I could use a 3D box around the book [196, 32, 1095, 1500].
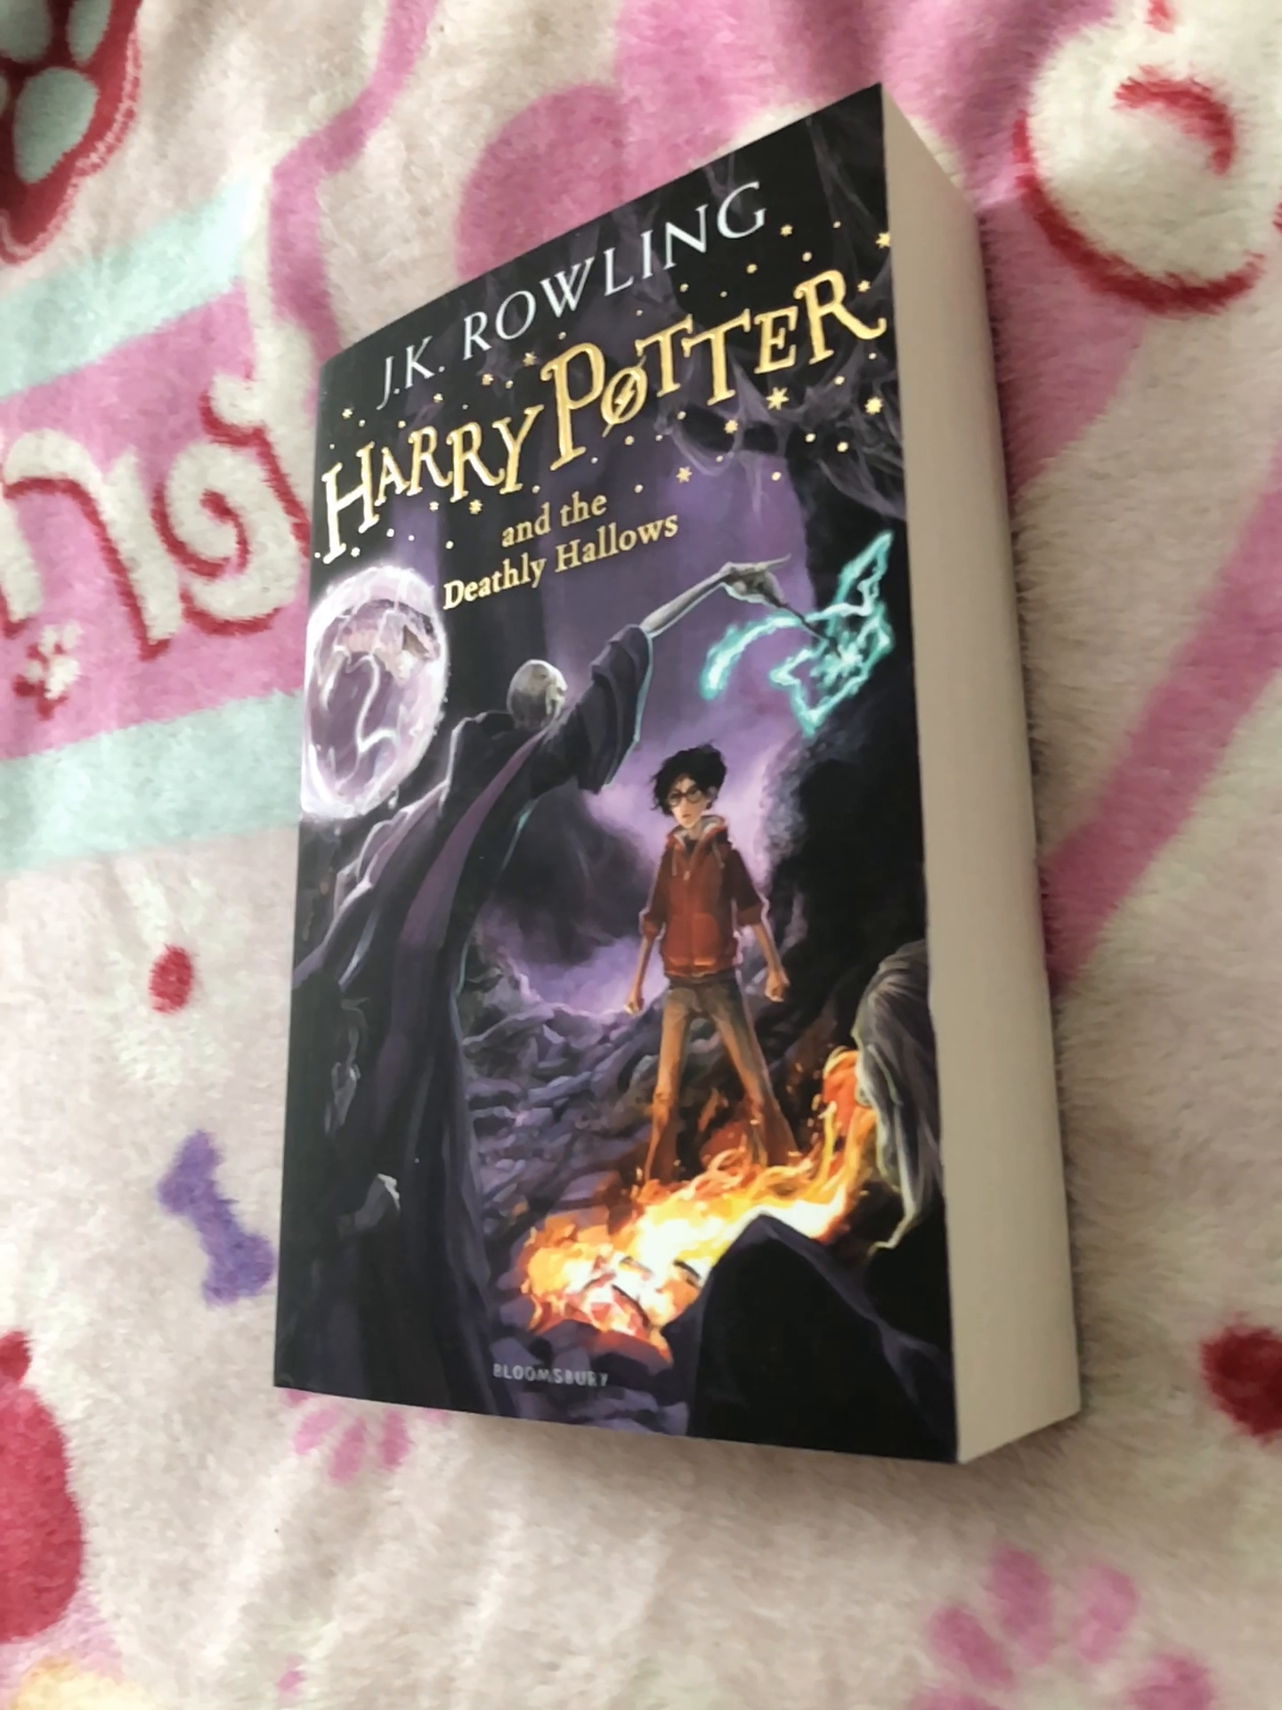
[{"bbox_3d":[-0.005,-0.008,0.236,0.126,0.060,0.187,-10,75,37],"label":"book"}]
